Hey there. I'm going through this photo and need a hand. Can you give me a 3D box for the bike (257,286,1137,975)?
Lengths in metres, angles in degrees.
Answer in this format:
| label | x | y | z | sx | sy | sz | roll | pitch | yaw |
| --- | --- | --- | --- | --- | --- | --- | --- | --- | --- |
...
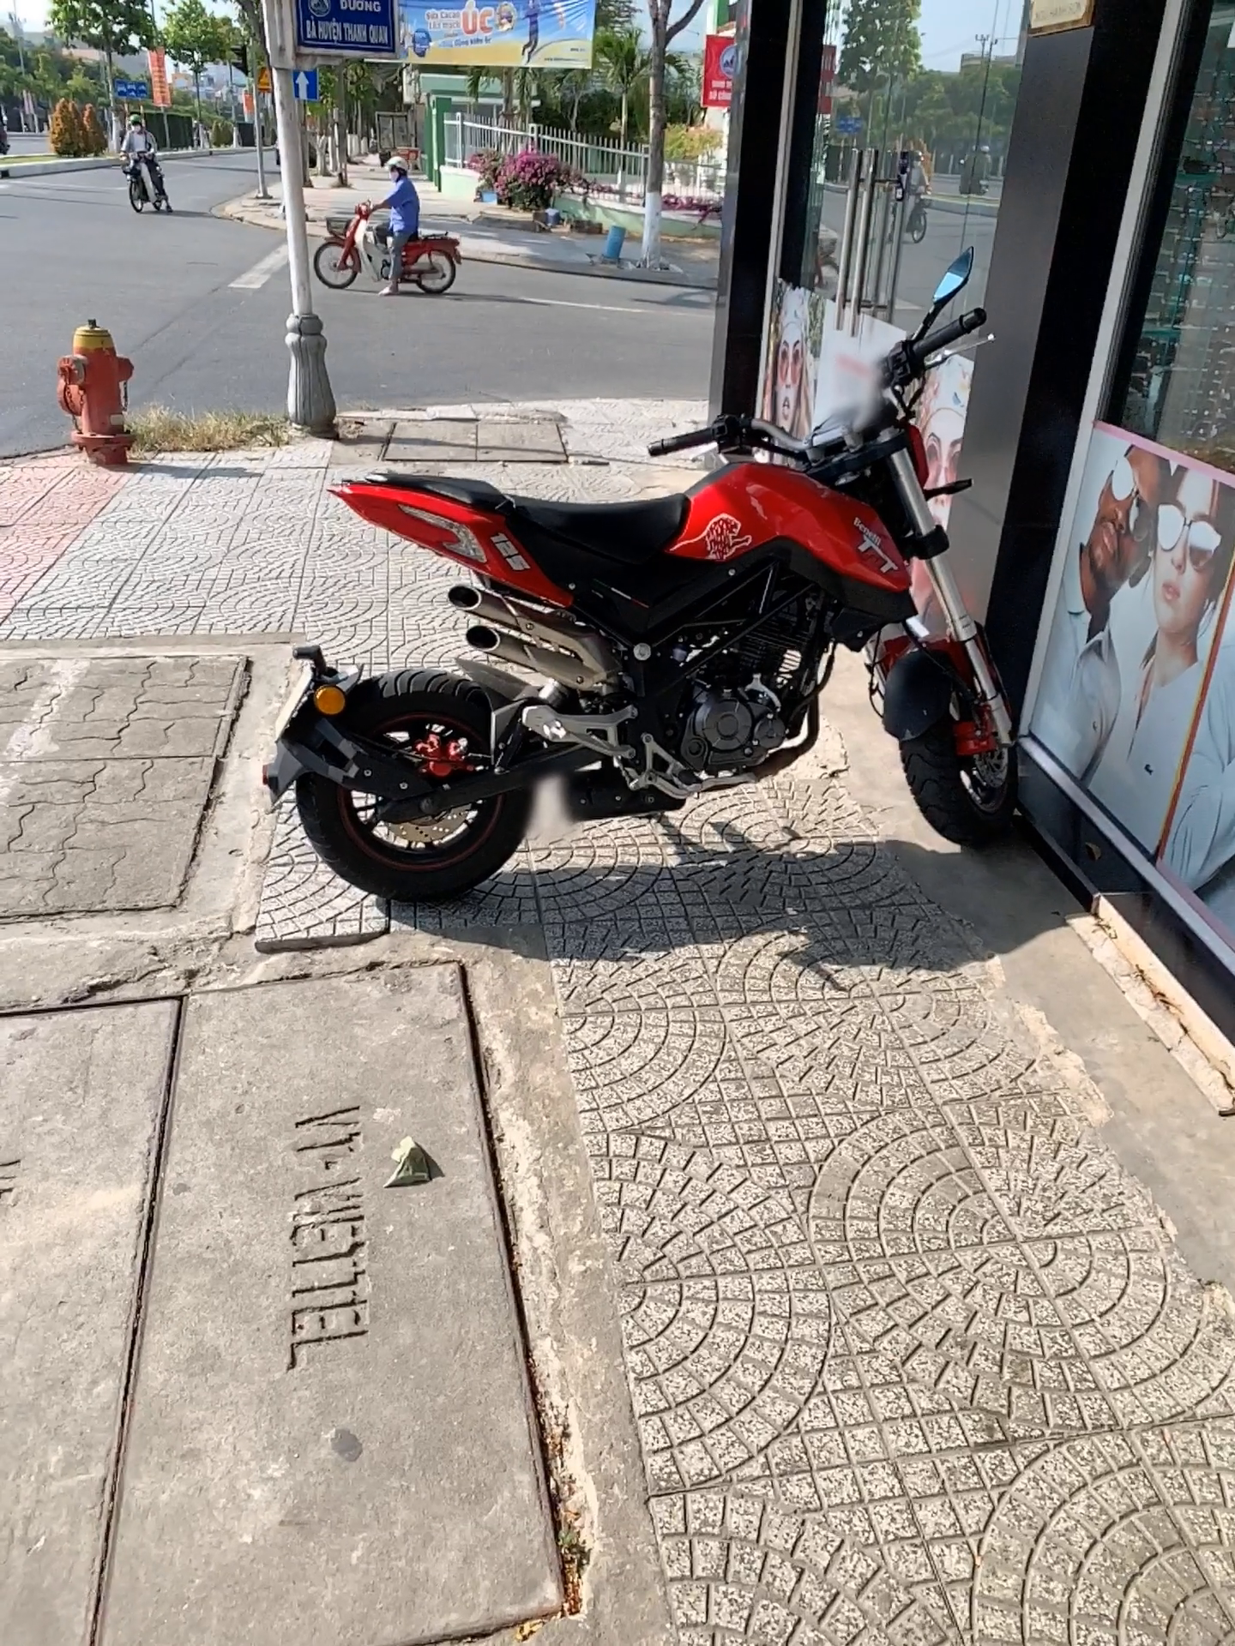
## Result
| label | x | y | z | sx | sy | sz | roll | pitch | yaw |
| --- | --- | --- | --- | --- | --- | --- | --- | --- | --- |
| bike | 0.217 | -0.632 | 3.161 | 2.122 | 1.216 | 0.835 | -12 | 30 | -27 |
